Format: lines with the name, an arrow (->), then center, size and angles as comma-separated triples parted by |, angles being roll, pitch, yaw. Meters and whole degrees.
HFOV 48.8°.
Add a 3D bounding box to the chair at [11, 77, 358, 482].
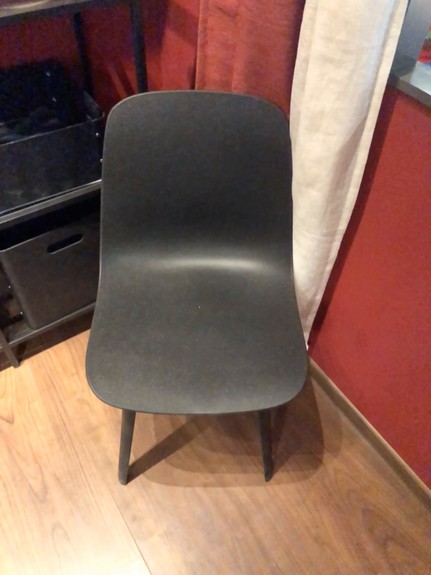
chair -> -0.056, 0.037, 0.995 | 0.410, 0.726, 0.483 | 0, 50, -3
